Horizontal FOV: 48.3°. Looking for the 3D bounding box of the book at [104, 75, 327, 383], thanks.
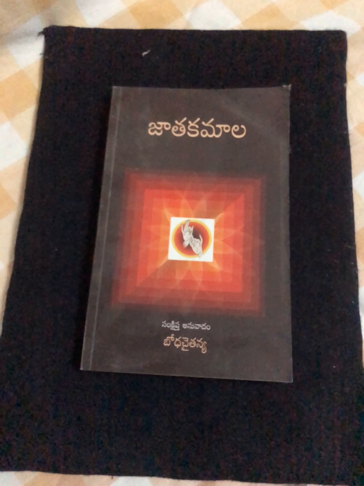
[{"bbox_3d":[0.026,-0.017,0.287,0.140,0.020,0.210,1,77,9],"label":"book"}]
